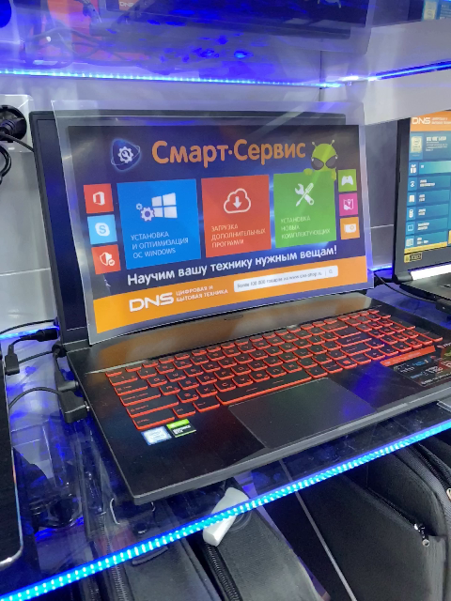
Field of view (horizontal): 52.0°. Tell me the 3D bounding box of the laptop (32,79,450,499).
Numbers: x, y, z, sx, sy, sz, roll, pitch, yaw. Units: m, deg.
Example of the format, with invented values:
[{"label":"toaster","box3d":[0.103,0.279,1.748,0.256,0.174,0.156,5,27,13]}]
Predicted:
[{"label":"laptop","box3d":[0.056,-0.063,0.458,0.404,0.237,0.288,-10,21,-26]}]
